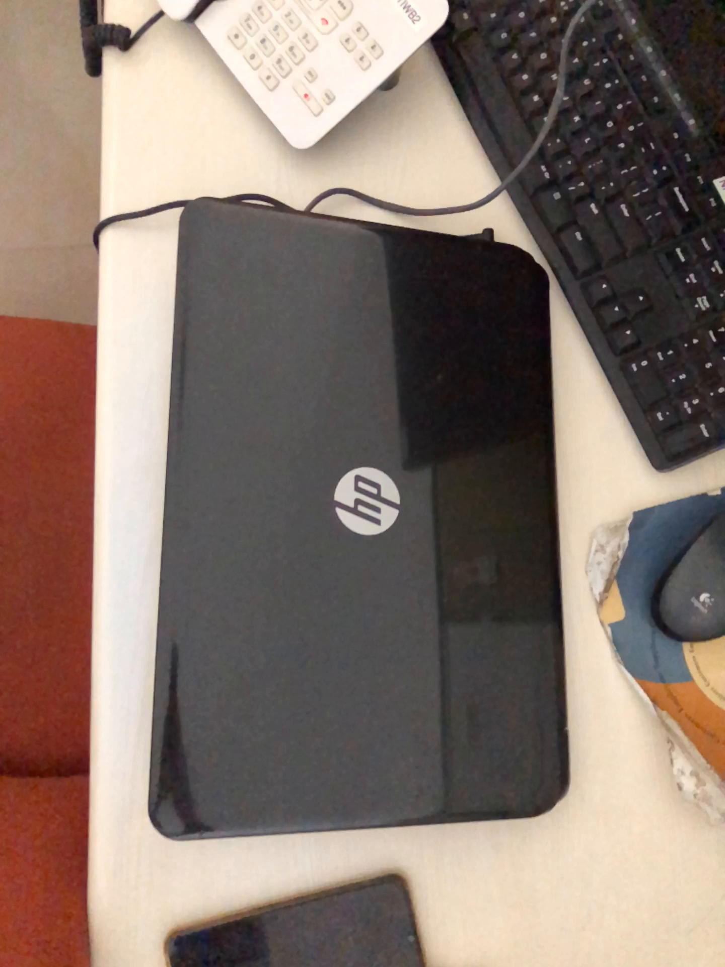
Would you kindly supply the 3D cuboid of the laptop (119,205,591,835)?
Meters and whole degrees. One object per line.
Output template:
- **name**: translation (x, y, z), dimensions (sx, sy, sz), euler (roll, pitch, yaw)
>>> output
- **laptop**: translation (-0.003, 0.013, 0.486), dimensions (0.245, 0.072, 0.350), euler (1, 79, 1)
